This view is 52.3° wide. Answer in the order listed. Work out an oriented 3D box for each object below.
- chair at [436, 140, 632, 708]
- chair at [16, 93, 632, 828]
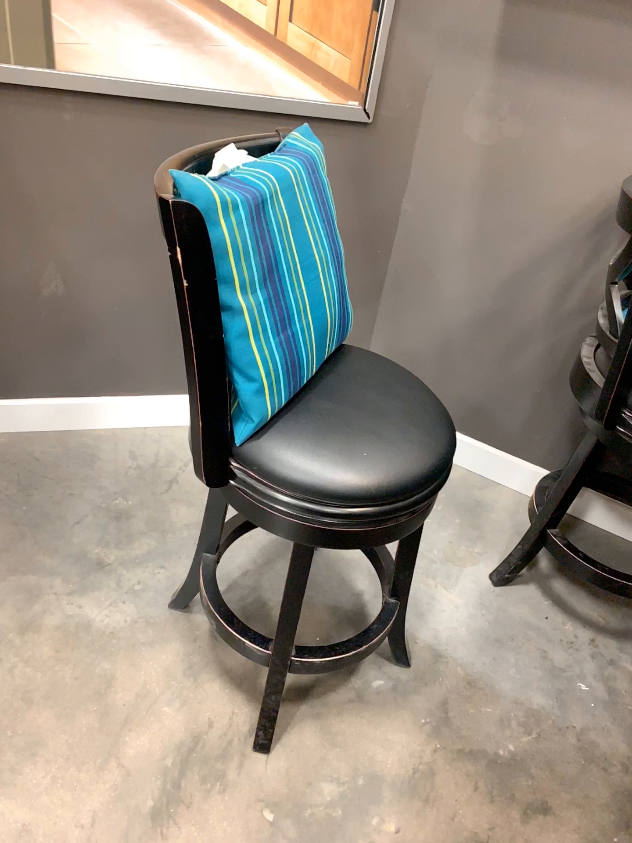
[{"bbox_3d":[0.745,-0.010,1.385,0.596,0.923,0.537,25,37,19],"label":"chair"},{"bbox_3d":[-0.009,0.041,1.060,0.596,0.903,0.537,25,37,19],"label":"chair"}]
